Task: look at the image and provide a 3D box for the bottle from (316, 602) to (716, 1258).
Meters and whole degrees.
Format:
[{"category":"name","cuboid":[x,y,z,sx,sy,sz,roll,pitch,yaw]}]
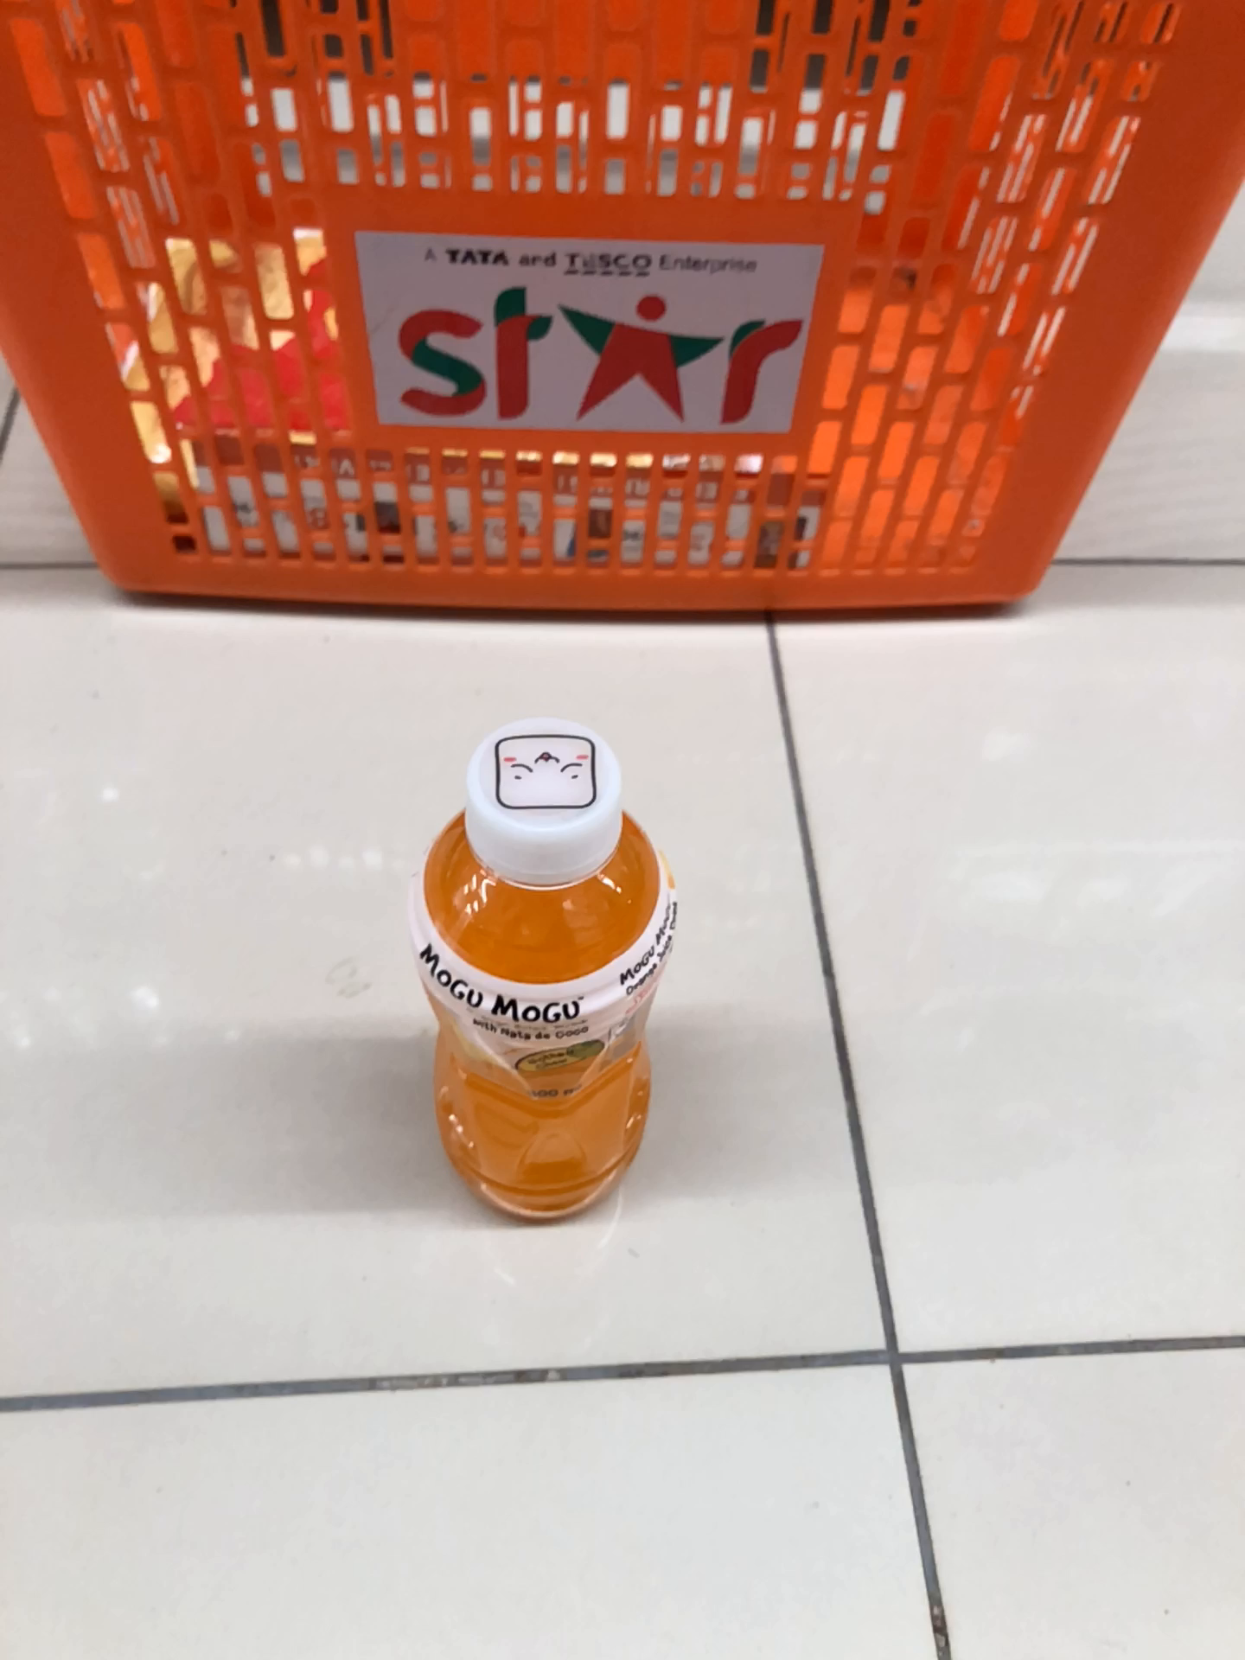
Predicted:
[{"category":"bottle","cuboid":[-0.020,0.033,0.314,0.060,0.159,0.066,2,54,-2]}]
